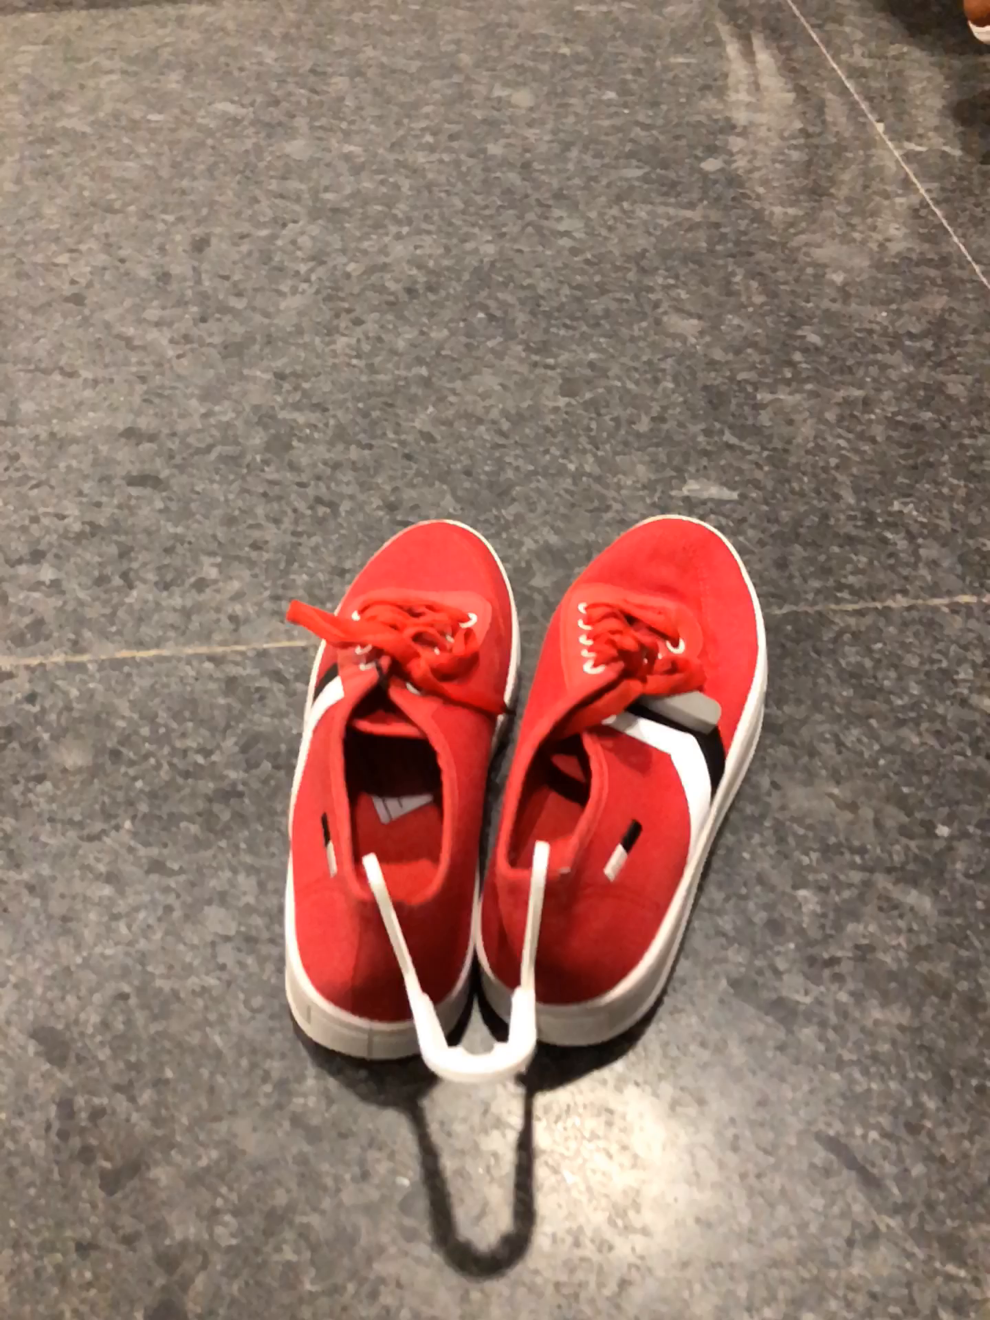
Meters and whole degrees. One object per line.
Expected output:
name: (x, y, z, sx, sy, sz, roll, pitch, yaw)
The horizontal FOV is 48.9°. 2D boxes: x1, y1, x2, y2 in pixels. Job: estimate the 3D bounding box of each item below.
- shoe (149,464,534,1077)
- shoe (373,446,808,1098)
shoe: (-0.042, 0.030, 0.437, 0.101, 0.090, 0.234, 2, 47, 5)
shoe: (0.049, 0.028, 0.430, 0.103, 0.090, 0.234, 12, 48, 13)
